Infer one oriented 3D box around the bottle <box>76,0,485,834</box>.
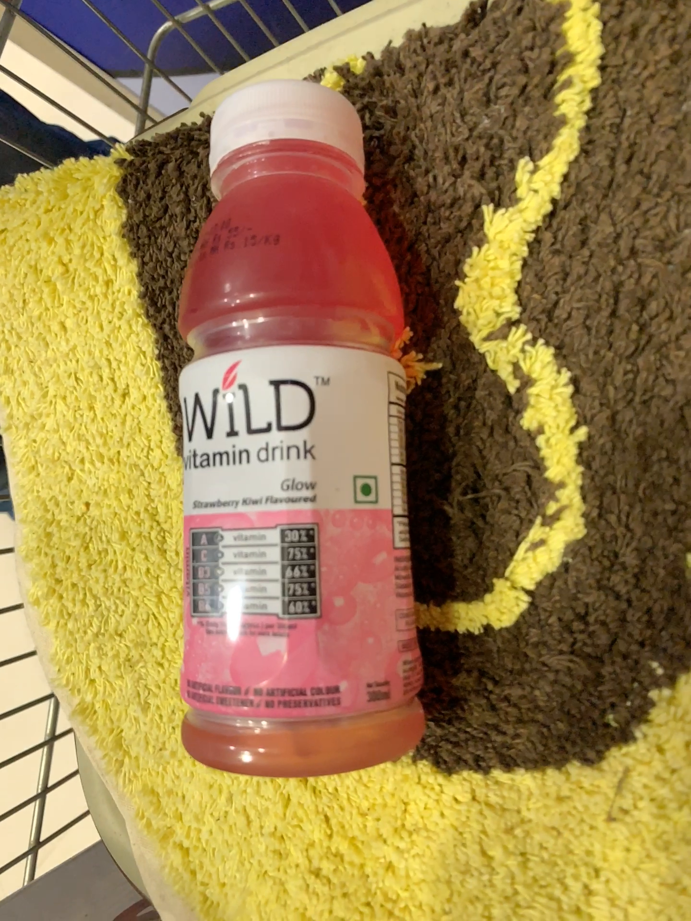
[{"bbox_3d":[-0.013,-0.012,0.163,0.060,0.050,0.160,-6,90,30],"label":"bottle"}]
